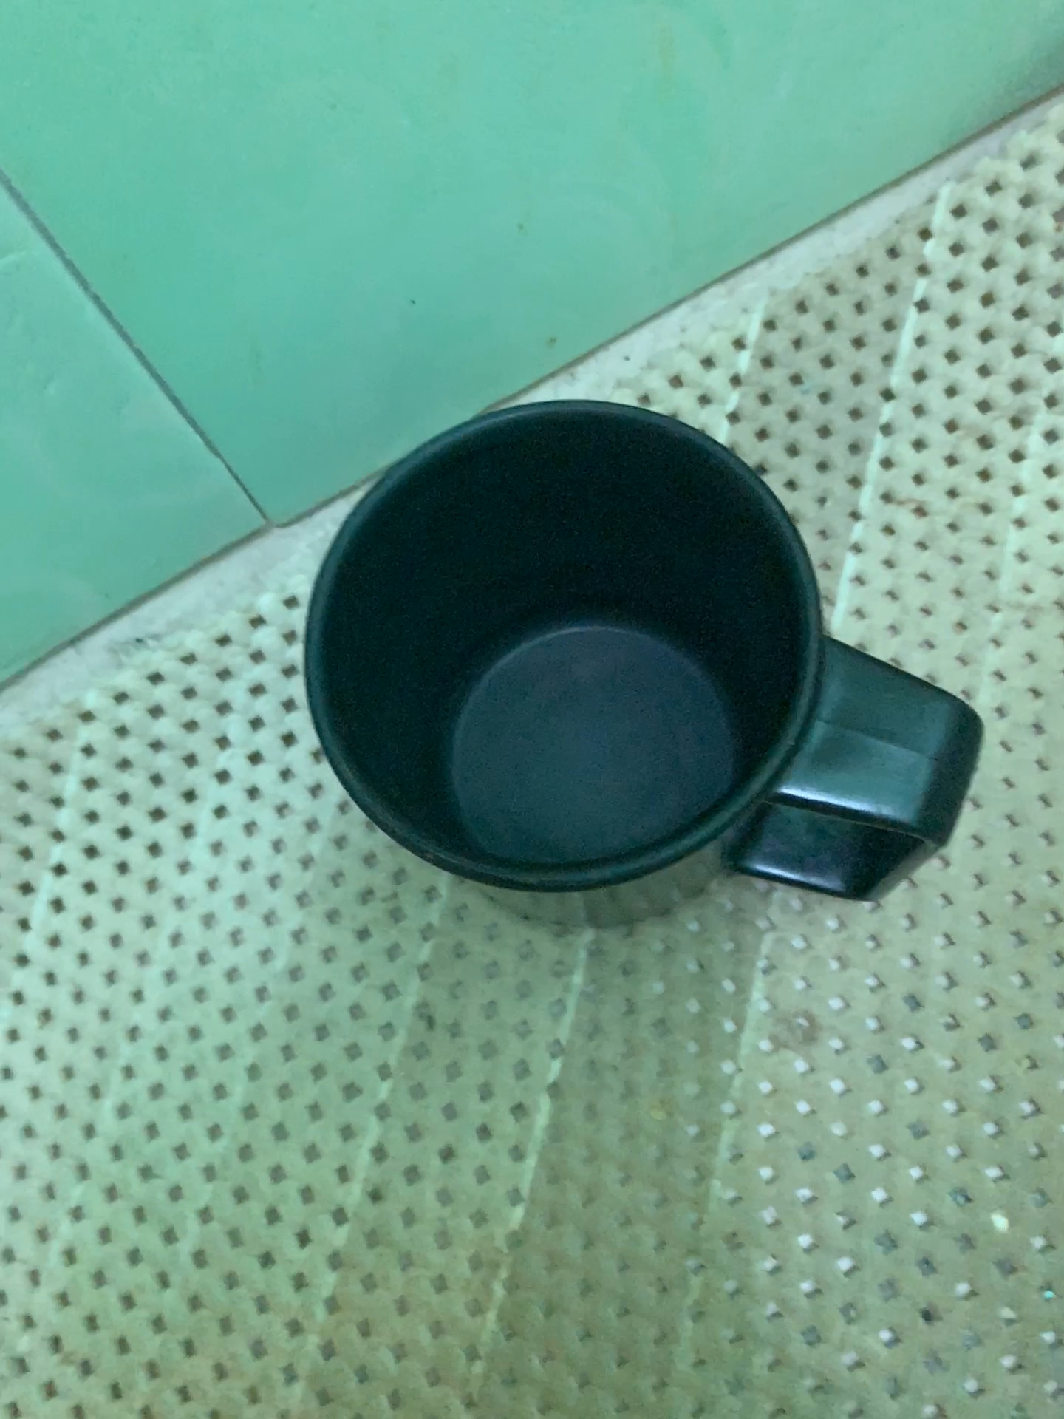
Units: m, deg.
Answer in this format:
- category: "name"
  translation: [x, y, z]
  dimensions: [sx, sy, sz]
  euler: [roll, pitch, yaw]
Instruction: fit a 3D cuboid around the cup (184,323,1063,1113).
- category: "cup"
  translation: [0.021, 0.005, 0.203]
  dimensions: [0.111, 0.082, 0.090]
  euler: [20, 76, 14]
